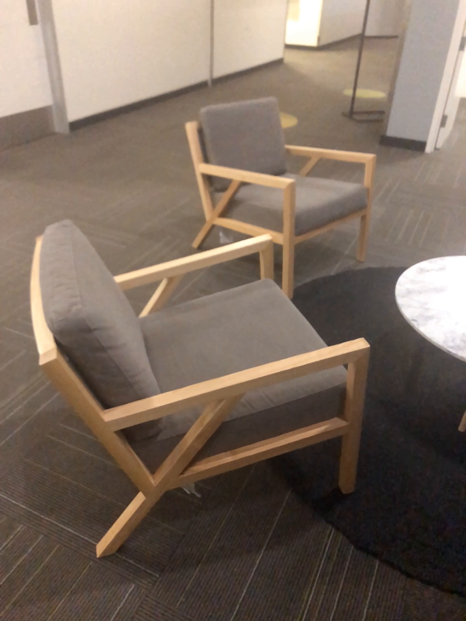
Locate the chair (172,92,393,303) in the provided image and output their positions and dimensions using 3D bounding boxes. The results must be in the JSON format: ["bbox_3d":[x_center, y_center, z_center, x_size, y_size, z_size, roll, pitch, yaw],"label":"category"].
[{"bbox_3d":[0.240,-0.651,2.723,0.724,0.774,0.802,-27,40,-36],"label":"chair"}]

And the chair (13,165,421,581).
[{"bbox_3d":[-0.085,0.120,1.548,0.872,0.754,0.725,-14,36,-13],"label":"chair"}]
